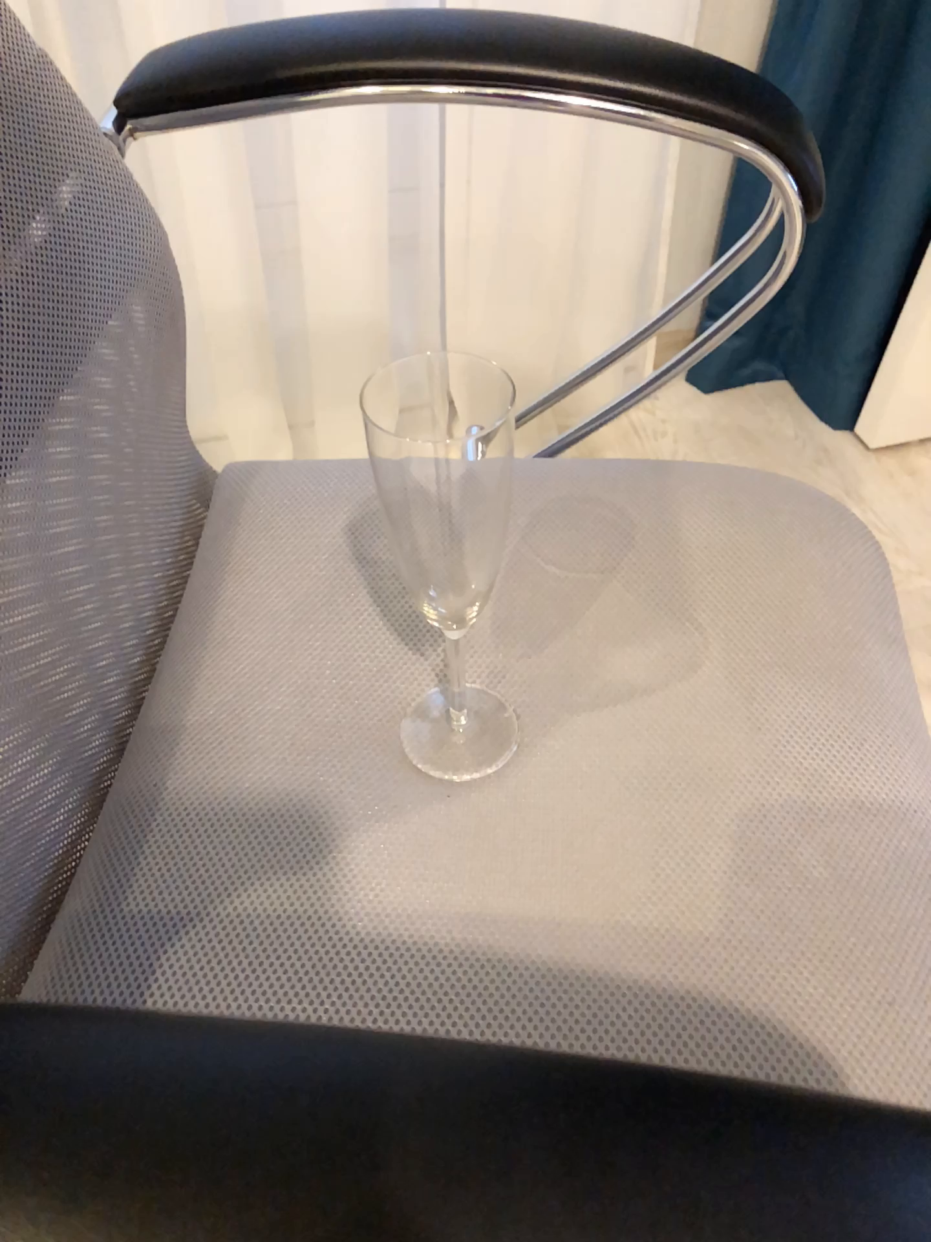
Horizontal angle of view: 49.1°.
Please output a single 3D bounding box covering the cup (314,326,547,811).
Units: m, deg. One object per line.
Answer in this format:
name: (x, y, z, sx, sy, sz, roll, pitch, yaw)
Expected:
cup: (-0.009, -0.012, 0.478, 0.074, 0.228, 0.075, -1, 46, 1)
